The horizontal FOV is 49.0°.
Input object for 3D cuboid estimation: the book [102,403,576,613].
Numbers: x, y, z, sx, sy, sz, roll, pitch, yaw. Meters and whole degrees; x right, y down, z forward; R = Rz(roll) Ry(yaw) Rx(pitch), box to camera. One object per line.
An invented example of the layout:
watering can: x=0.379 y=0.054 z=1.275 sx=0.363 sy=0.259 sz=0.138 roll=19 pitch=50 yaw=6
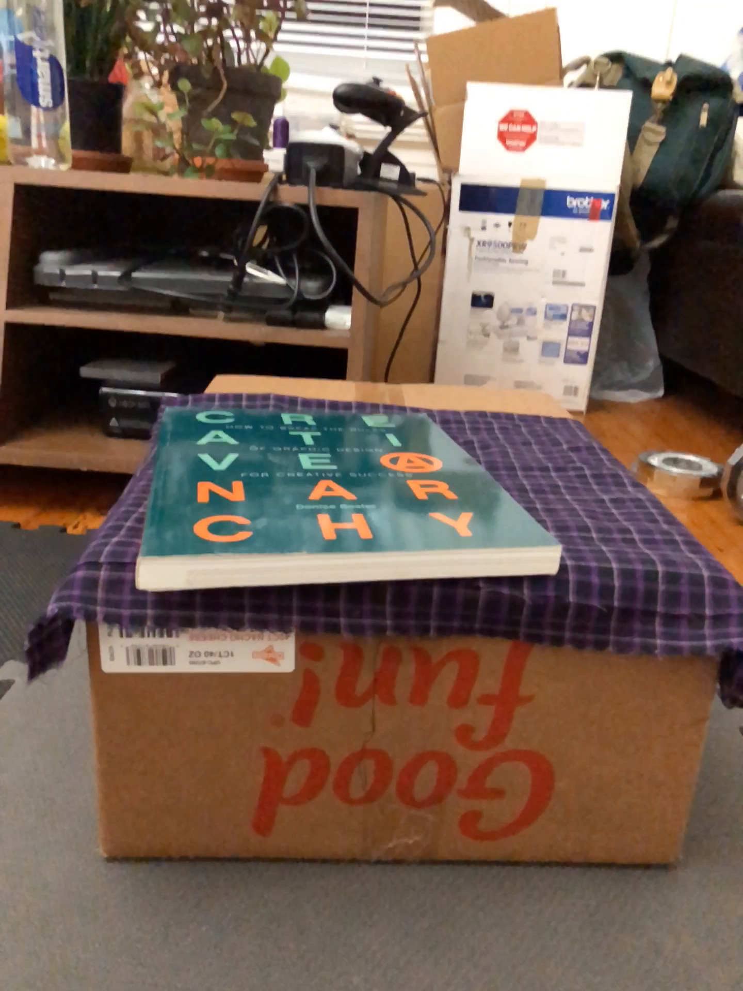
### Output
book: x=-0.038 y=-0.011 z=0.514 sx=0.220 sy=0.020 sz=0.301 roll=-1 pitch=20 yaw=-12
